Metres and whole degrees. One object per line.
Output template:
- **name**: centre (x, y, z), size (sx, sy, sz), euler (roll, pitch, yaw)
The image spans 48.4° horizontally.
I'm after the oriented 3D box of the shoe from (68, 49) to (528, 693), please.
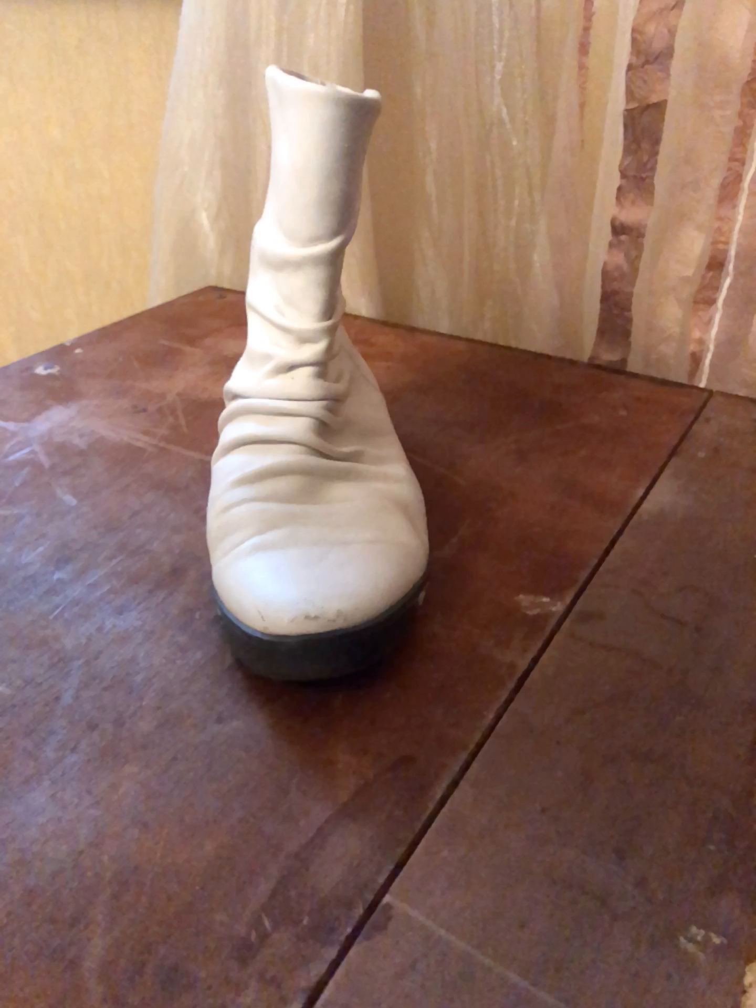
- **shoe**: centre (-0.021, -0.074, 0.330), size (0.100, 0.169, 0.241), euler (0, 31, -1)
